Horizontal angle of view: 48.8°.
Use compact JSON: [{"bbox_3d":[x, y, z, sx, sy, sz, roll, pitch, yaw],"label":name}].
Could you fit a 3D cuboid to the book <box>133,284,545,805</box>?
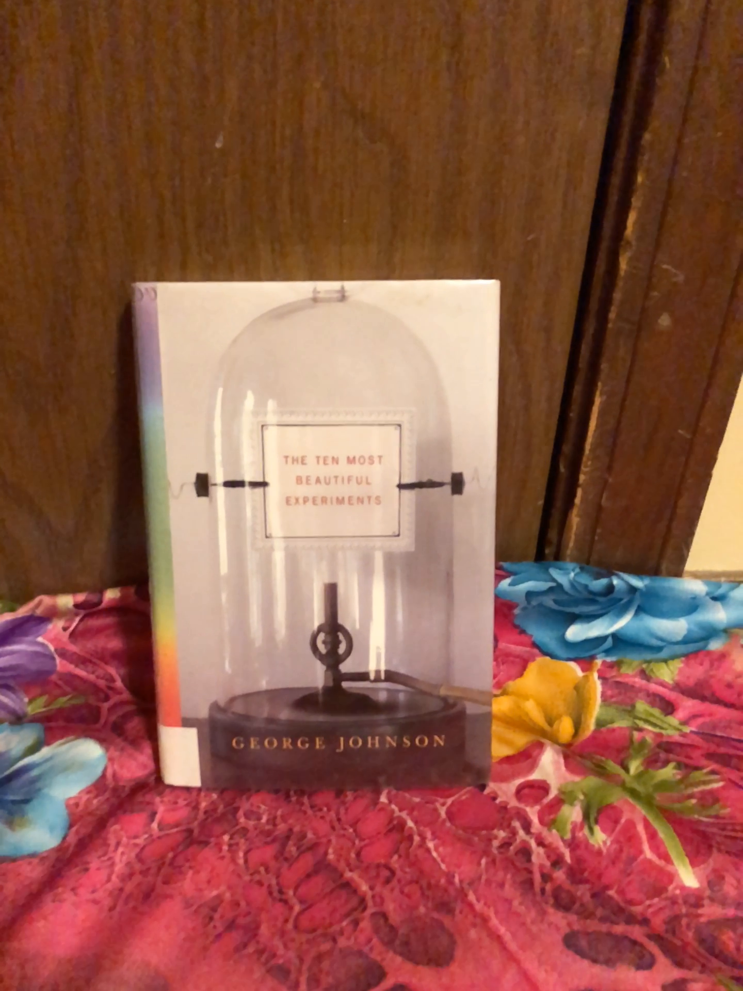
[{"bbox_3d":[-0.011,0.019,0.312,0.140,0.190,0.033,-1,10,-3],"label":"book"}]
